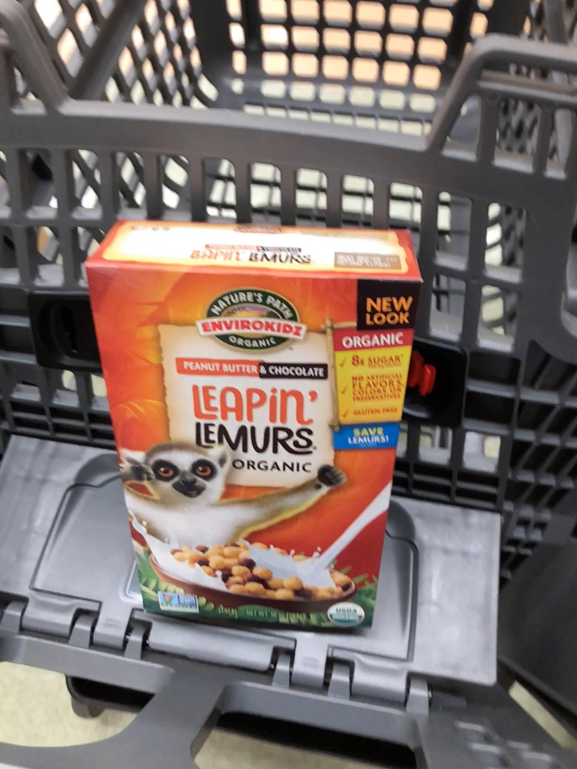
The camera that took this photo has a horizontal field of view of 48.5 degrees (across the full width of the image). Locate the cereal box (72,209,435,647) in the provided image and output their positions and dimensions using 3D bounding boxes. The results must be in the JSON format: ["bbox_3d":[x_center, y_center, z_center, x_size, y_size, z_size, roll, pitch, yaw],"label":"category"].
[{"bbox_3d":[-0.016,0.038,0.380,0.160,0.260,0.070,3,33,3],"label":"cereal box"}]
